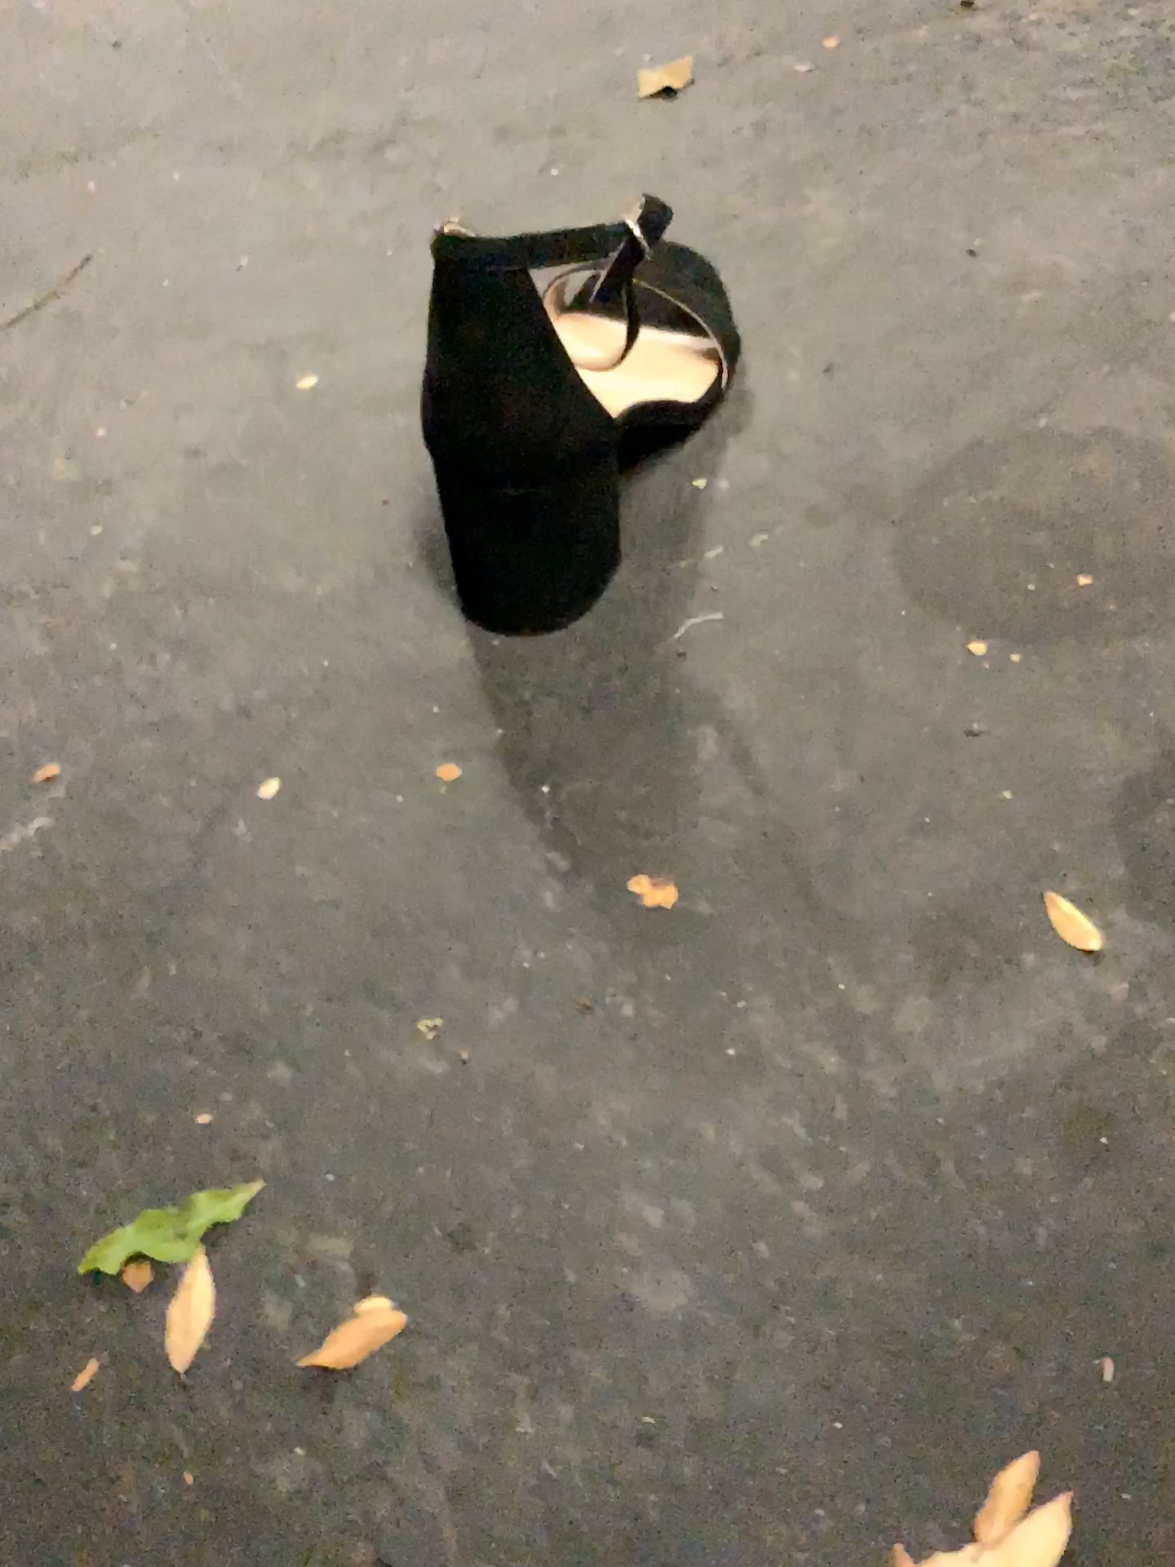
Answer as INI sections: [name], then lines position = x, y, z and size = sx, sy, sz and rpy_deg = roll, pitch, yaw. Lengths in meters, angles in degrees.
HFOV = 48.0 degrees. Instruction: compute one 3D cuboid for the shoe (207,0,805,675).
[shoe]
position = -0.005, -0.195, 0.499
size = 0.120, 0.140, 0.270
rpy_deg = 10, 54, 16
